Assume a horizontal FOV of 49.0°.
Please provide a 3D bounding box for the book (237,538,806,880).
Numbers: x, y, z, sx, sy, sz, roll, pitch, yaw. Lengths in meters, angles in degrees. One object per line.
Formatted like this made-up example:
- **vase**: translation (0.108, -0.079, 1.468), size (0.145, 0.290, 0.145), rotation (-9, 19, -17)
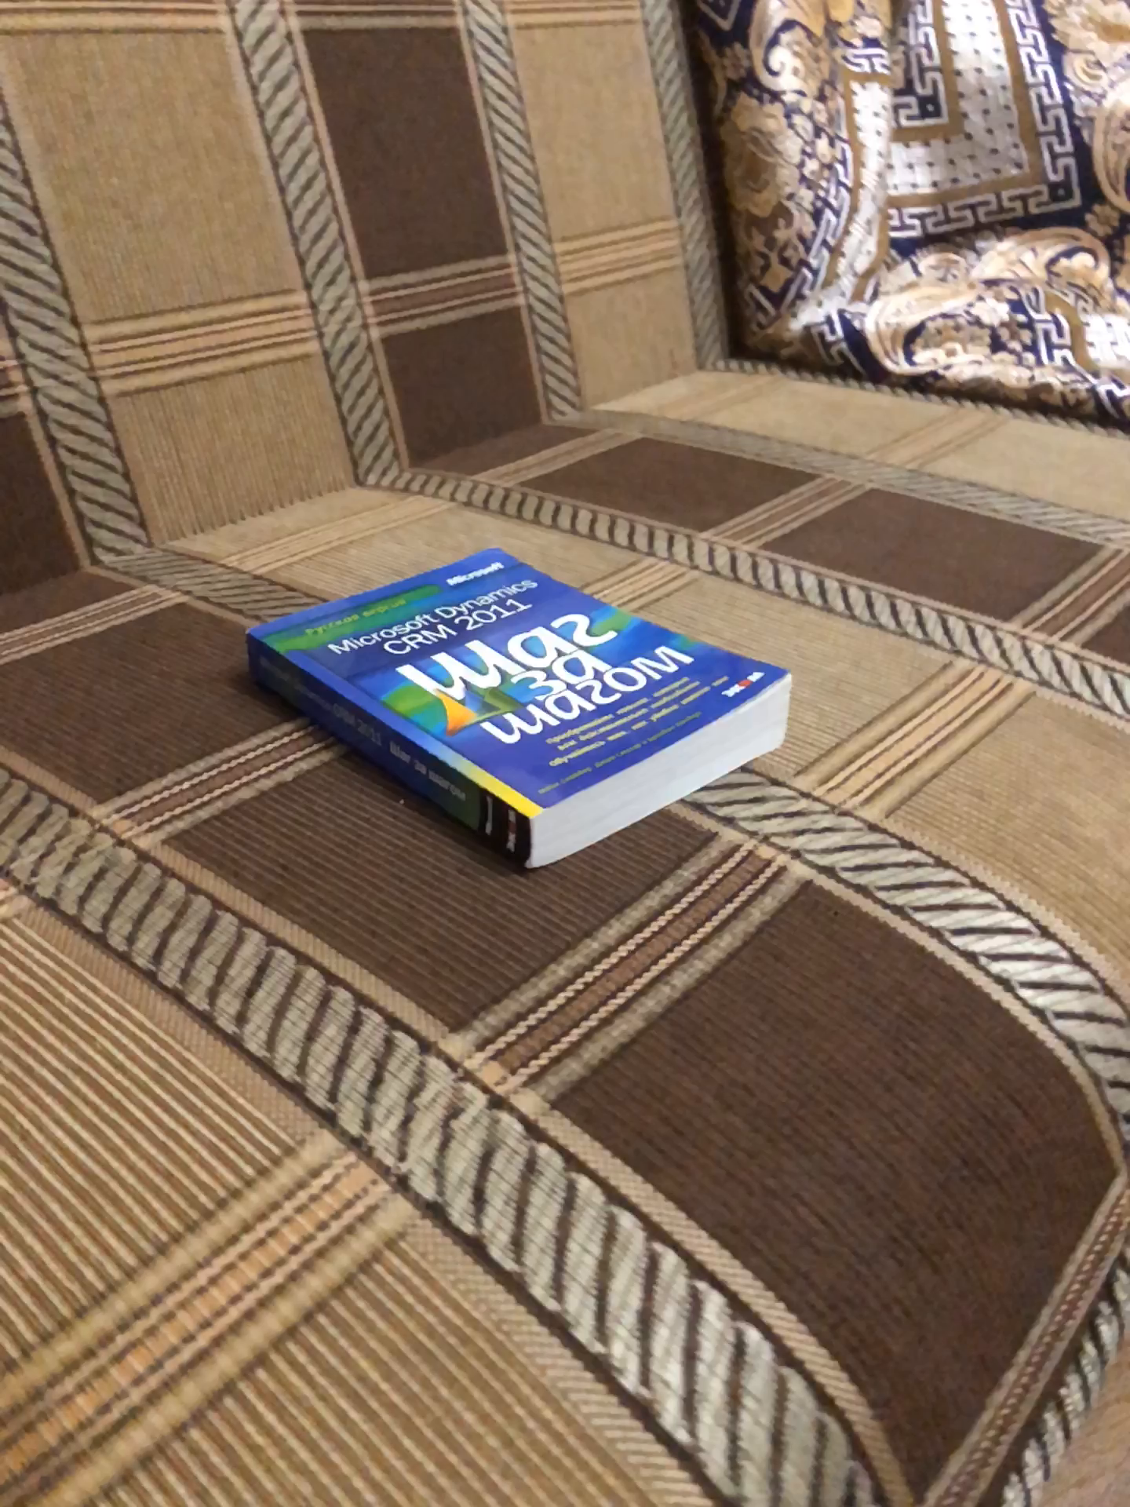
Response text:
- **book**: translation (-0.023, -0.033, 0.541), size (0.151, 0.030, 0.201), rotation (-25, 40, -36)
